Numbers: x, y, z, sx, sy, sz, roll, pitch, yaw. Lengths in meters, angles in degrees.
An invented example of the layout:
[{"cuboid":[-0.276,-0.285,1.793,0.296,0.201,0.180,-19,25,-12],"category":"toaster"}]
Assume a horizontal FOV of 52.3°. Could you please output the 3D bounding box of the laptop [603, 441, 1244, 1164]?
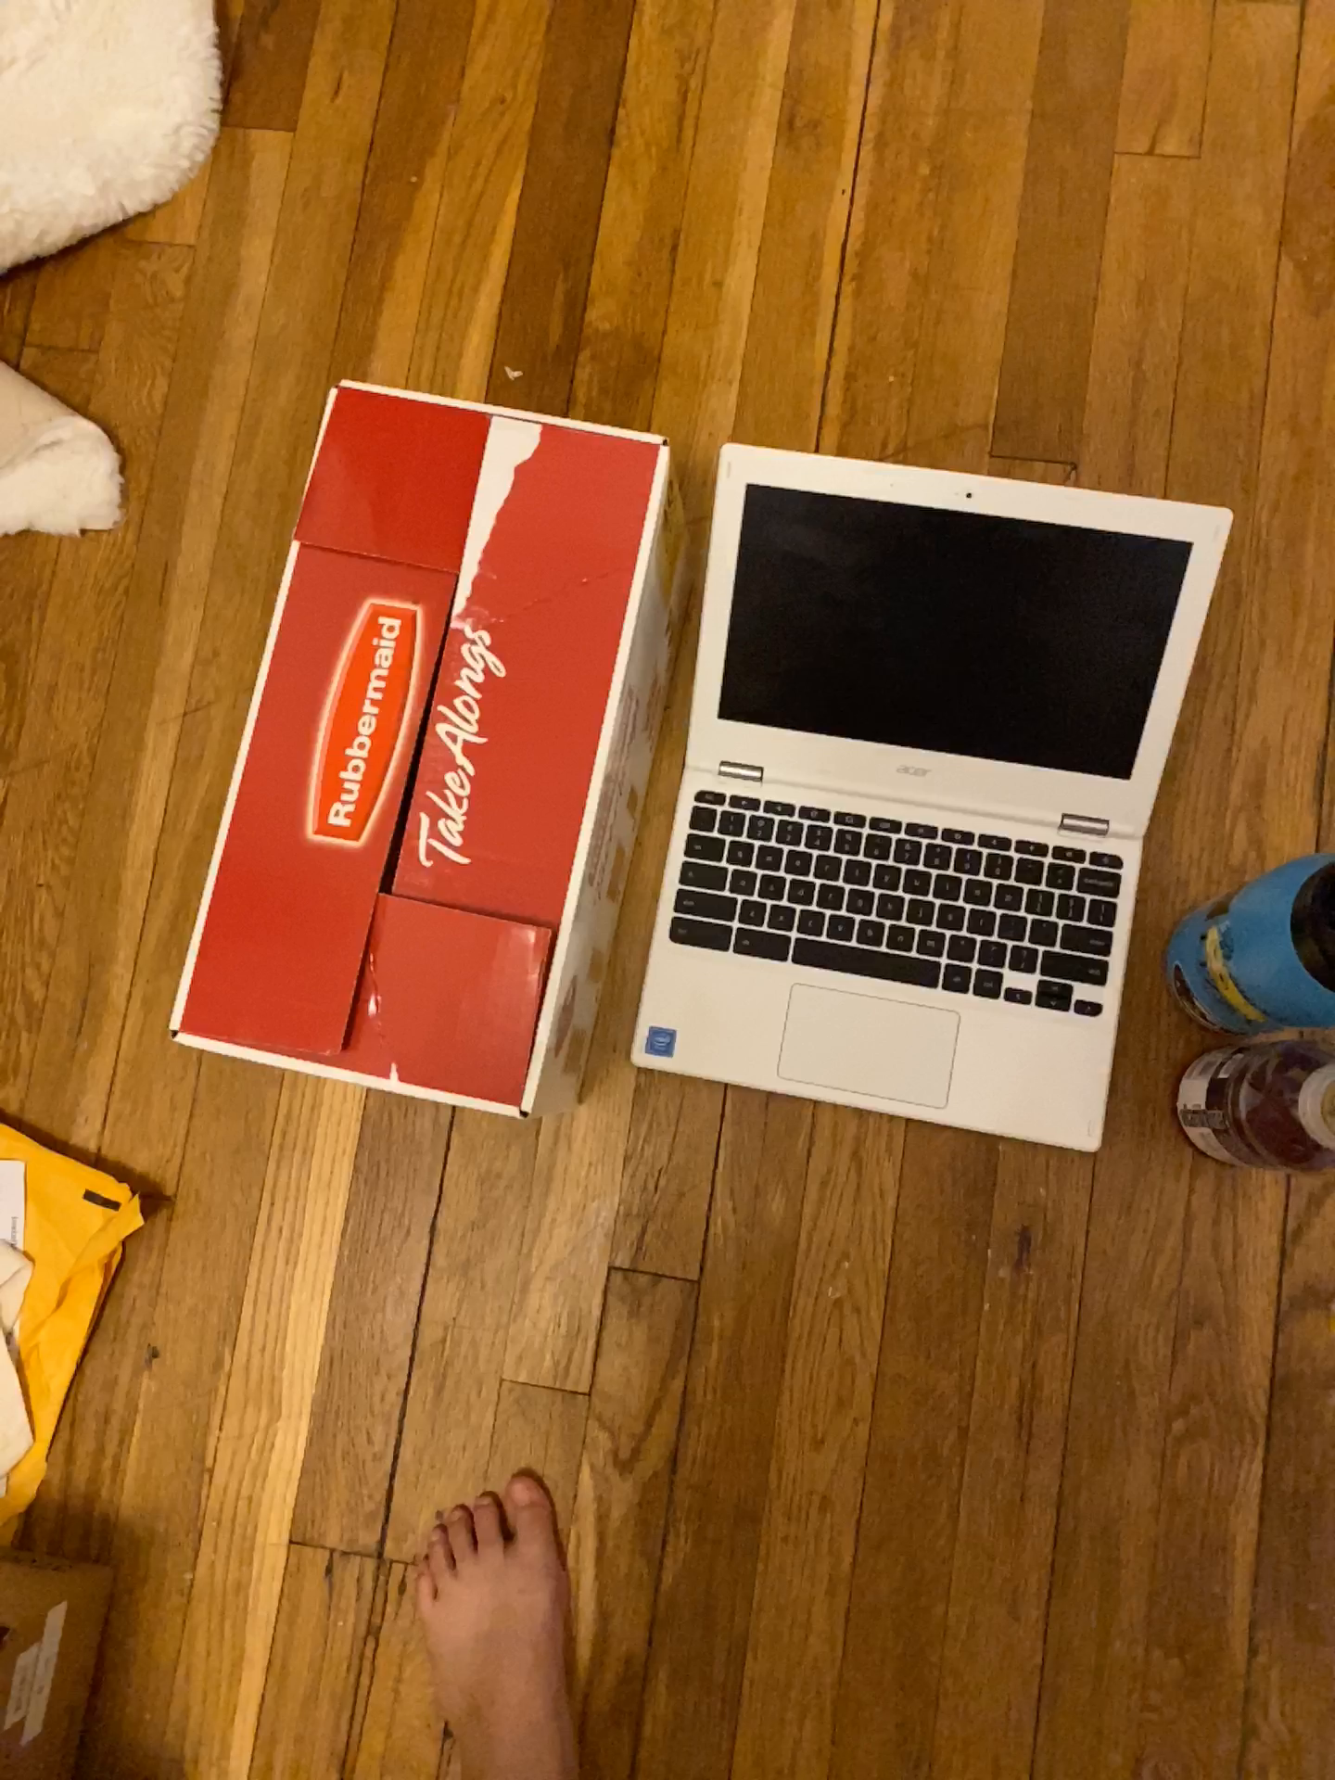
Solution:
[{"cuboid":[0.146,-0.051,0.800,0.289,0.110,0.364,10,84,8],"category":"laptop"}]
